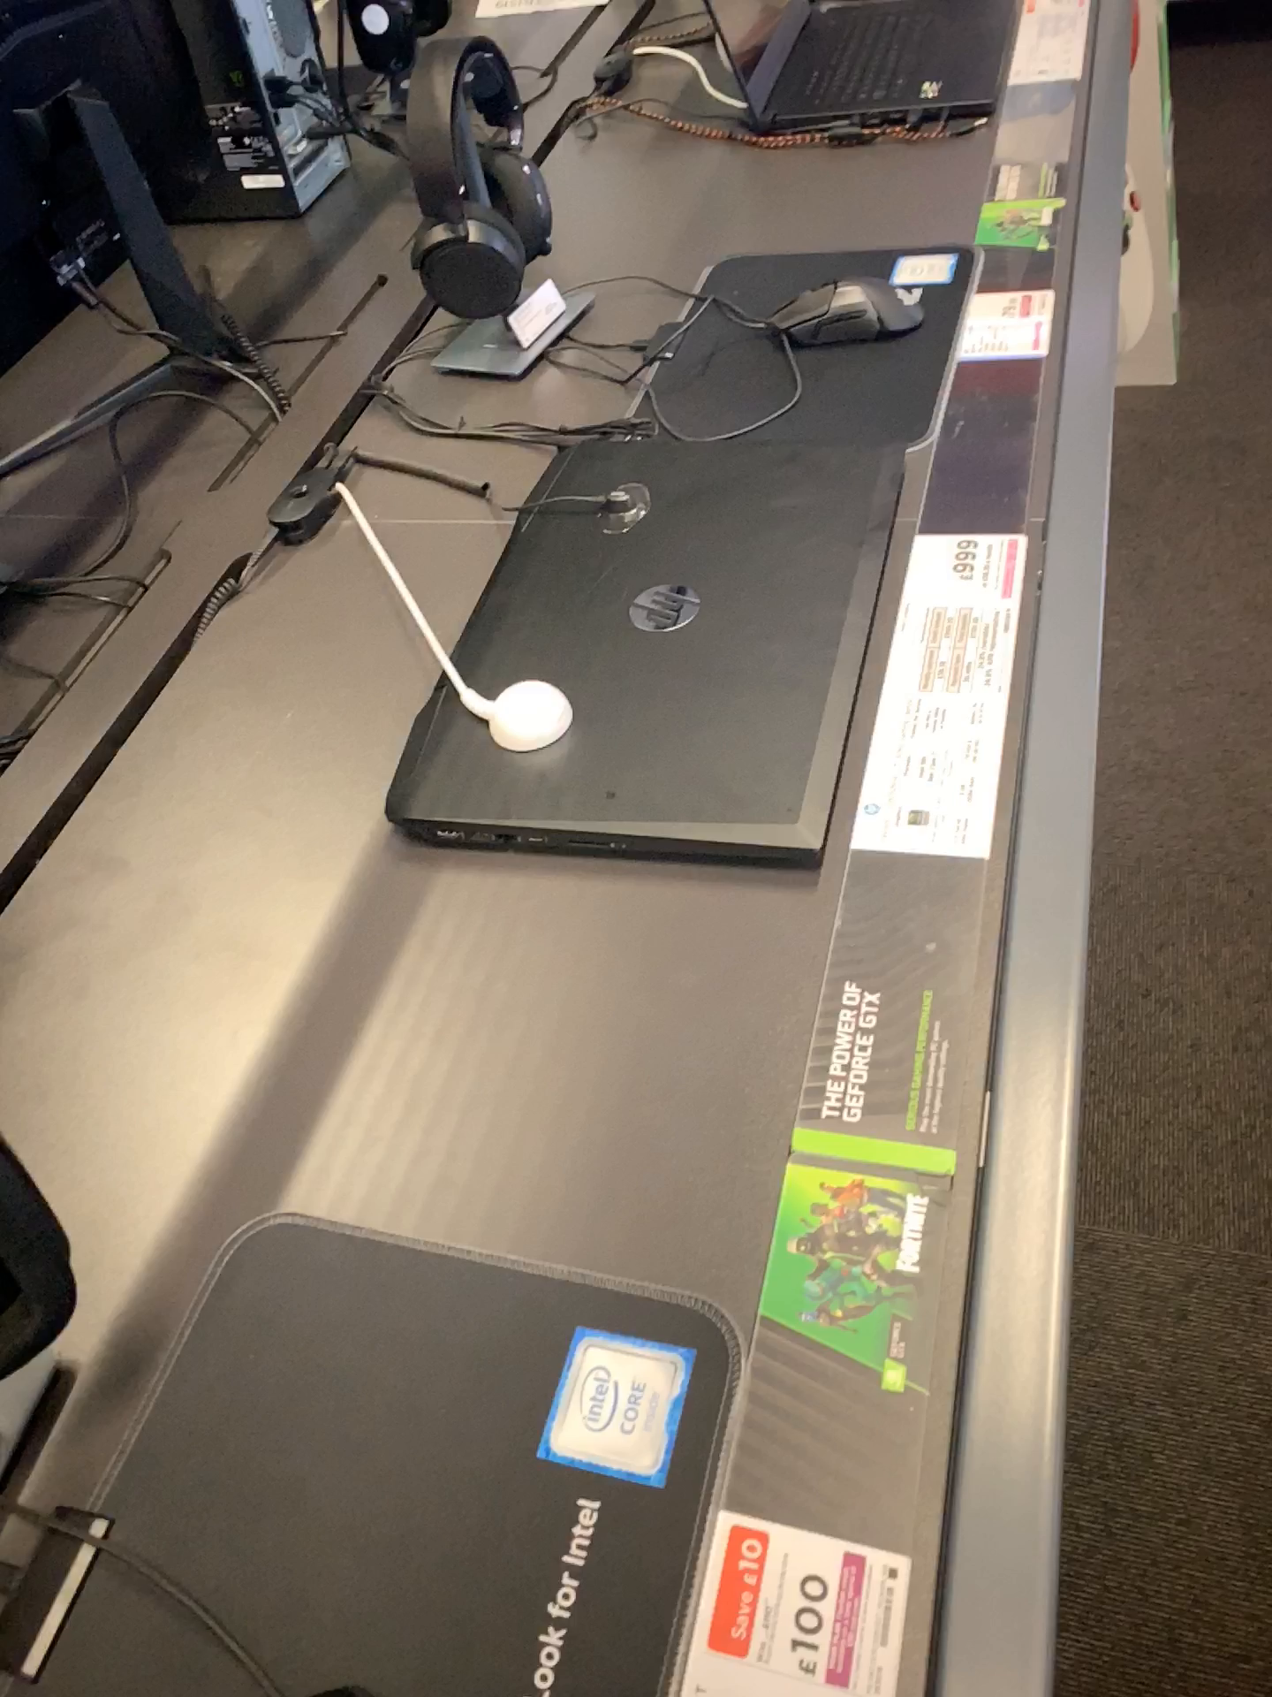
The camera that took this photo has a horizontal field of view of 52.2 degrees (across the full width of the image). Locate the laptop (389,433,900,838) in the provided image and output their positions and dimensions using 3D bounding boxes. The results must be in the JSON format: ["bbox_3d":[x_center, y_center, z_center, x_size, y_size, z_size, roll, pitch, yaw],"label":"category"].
[{"bbox_3d":[0.022,-0.166,0.869,0.256,0.001,0.397,5,50,17],"label":"laptop"}]
